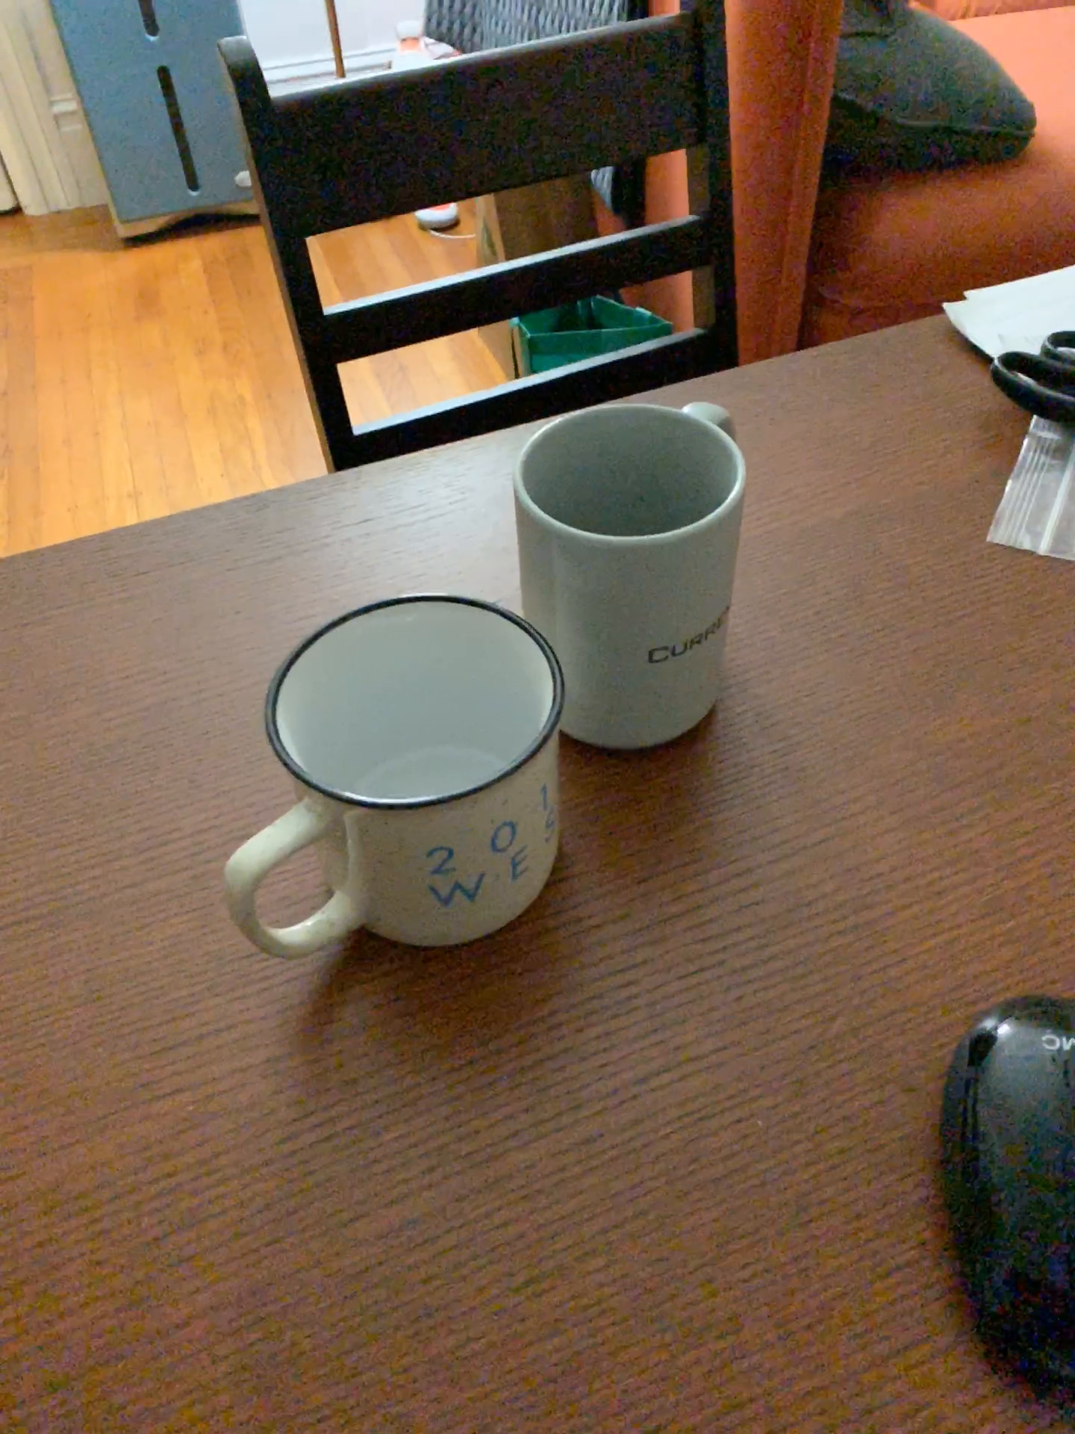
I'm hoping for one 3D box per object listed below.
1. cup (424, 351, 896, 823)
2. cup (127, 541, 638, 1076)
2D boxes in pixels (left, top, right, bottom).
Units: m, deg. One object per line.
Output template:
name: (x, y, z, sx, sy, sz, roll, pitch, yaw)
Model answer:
cup: (0.047, -0.055, 0.437, 0.140, 0.099, 0.100, -32, 54, -24)
cup: (-0.048, 0.028, 0.390, 0.130, 0.099, 0.100, -32, 54, -23)
